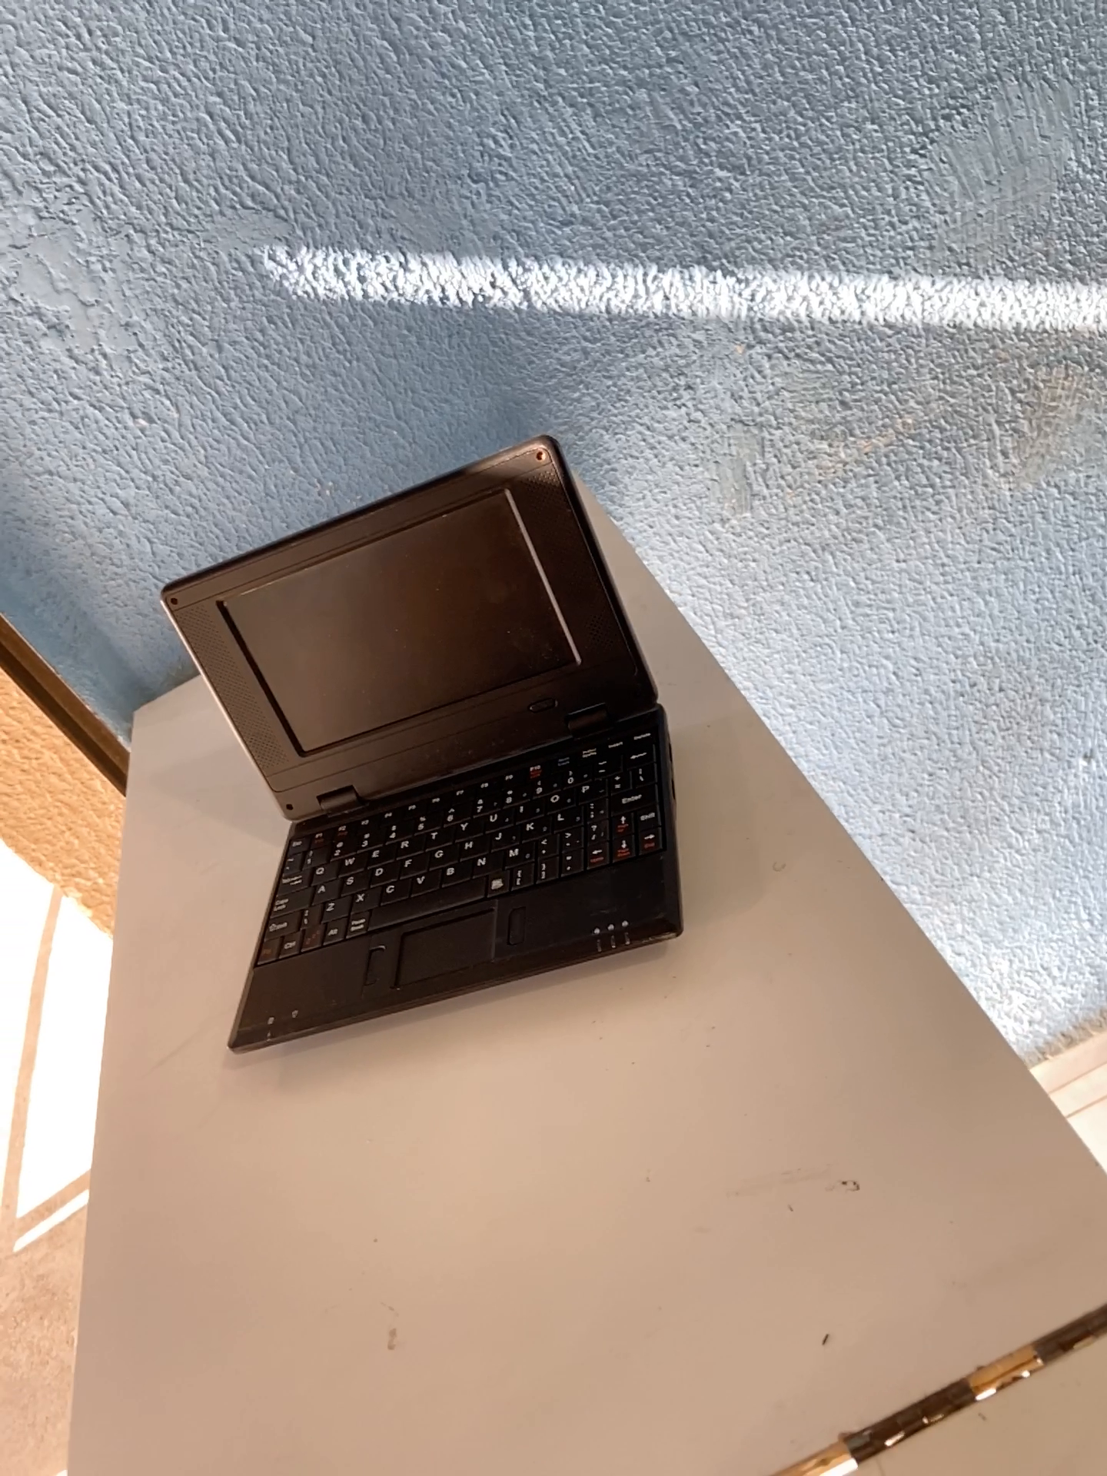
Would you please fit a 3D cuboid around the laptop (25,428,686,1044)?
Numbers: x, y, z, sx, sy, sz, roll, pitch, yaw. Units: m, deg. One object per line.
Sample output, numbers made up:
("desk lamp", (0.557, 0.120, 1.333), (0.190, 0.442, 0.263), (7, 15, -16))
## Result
("laptop", (-0.073, 0.000, 0.508), (0.216, 0.137, 0.180), (-17, 38, 16))
